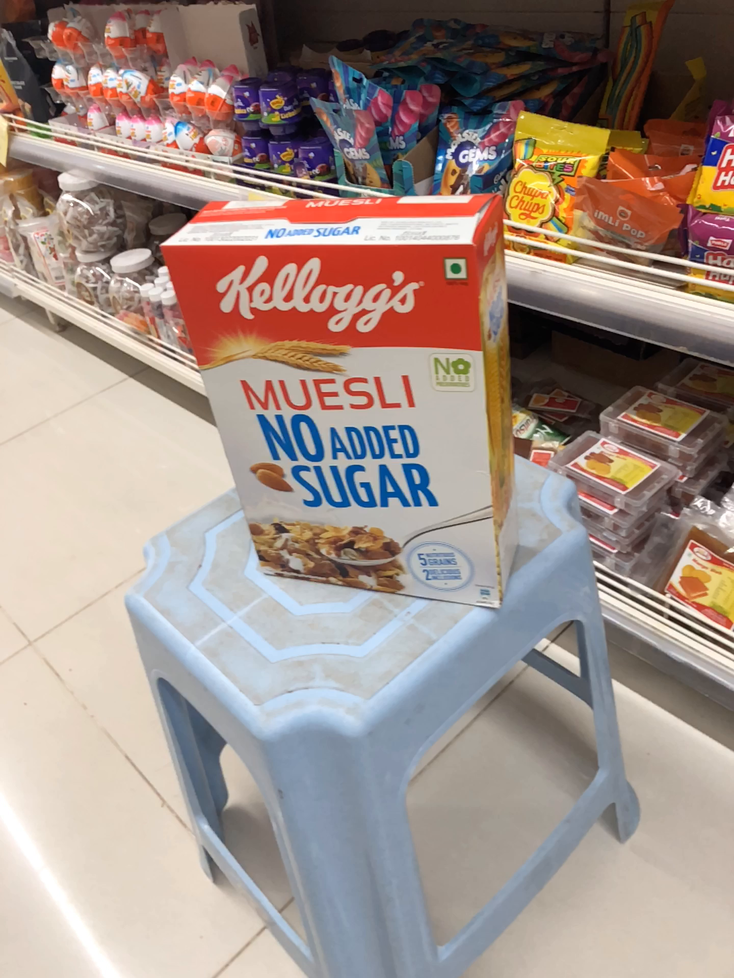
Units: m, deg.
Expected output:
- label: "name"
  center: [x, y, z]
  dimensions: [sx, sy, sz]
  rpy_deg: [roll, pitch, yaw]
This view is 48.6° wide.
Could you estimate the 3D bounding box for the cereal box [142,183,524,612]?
- label: "cereal box"
  center: [-0.005, -0.049, 0.521]
  dimensions: [0.190, 0.259, 0.070]
  rpy_deg: [5, 40, 20]
